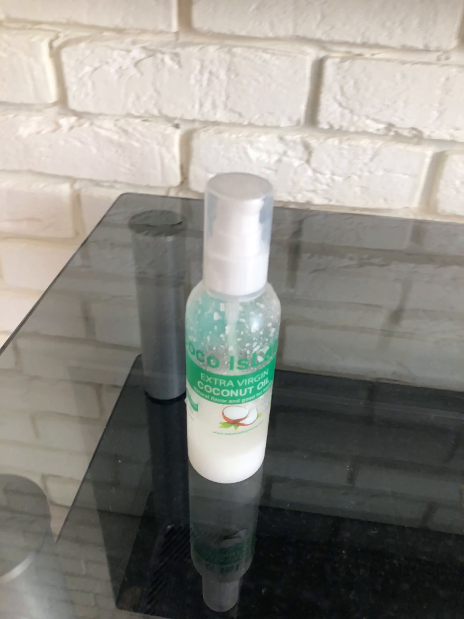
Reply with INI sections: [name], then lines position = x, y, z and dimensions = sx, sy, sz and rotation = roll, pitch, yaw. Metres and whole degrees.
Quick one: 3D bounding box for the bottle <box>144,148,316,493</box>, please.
[bottle]
position = -0.001, 0.010, 0.223
dimensions = 0.050, 0.139, 0.050
rotation = 2, 35, -1
